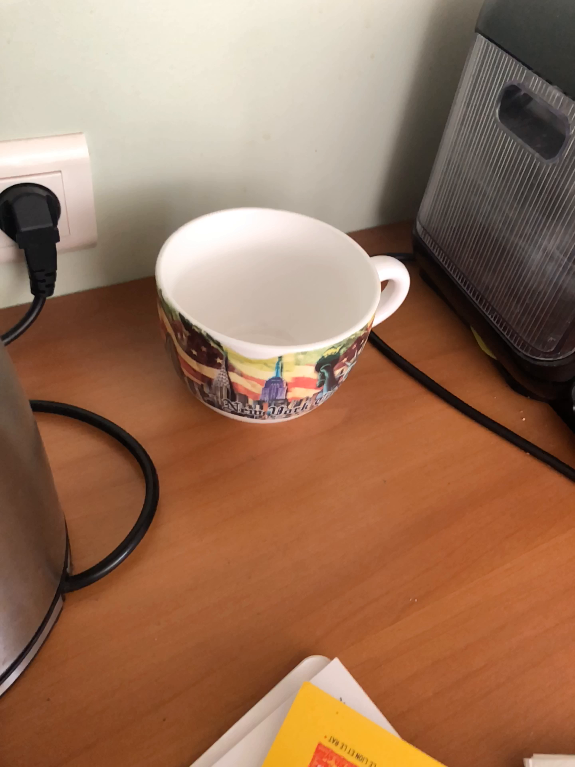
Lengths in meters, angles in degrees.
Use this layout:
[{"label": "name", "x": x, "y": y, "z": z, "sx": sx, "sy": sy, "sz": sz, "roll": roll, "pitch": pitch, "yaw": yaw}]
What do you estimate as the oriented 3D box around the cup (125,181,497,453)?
[{"label": "cup", "x": 0.007, "y": -0.047, "z": 0.371, "sx": 0.171, "sy": 0.070, "sz": 0.120, "roll": -13, "pitch": 51, "yaw": -21}]
